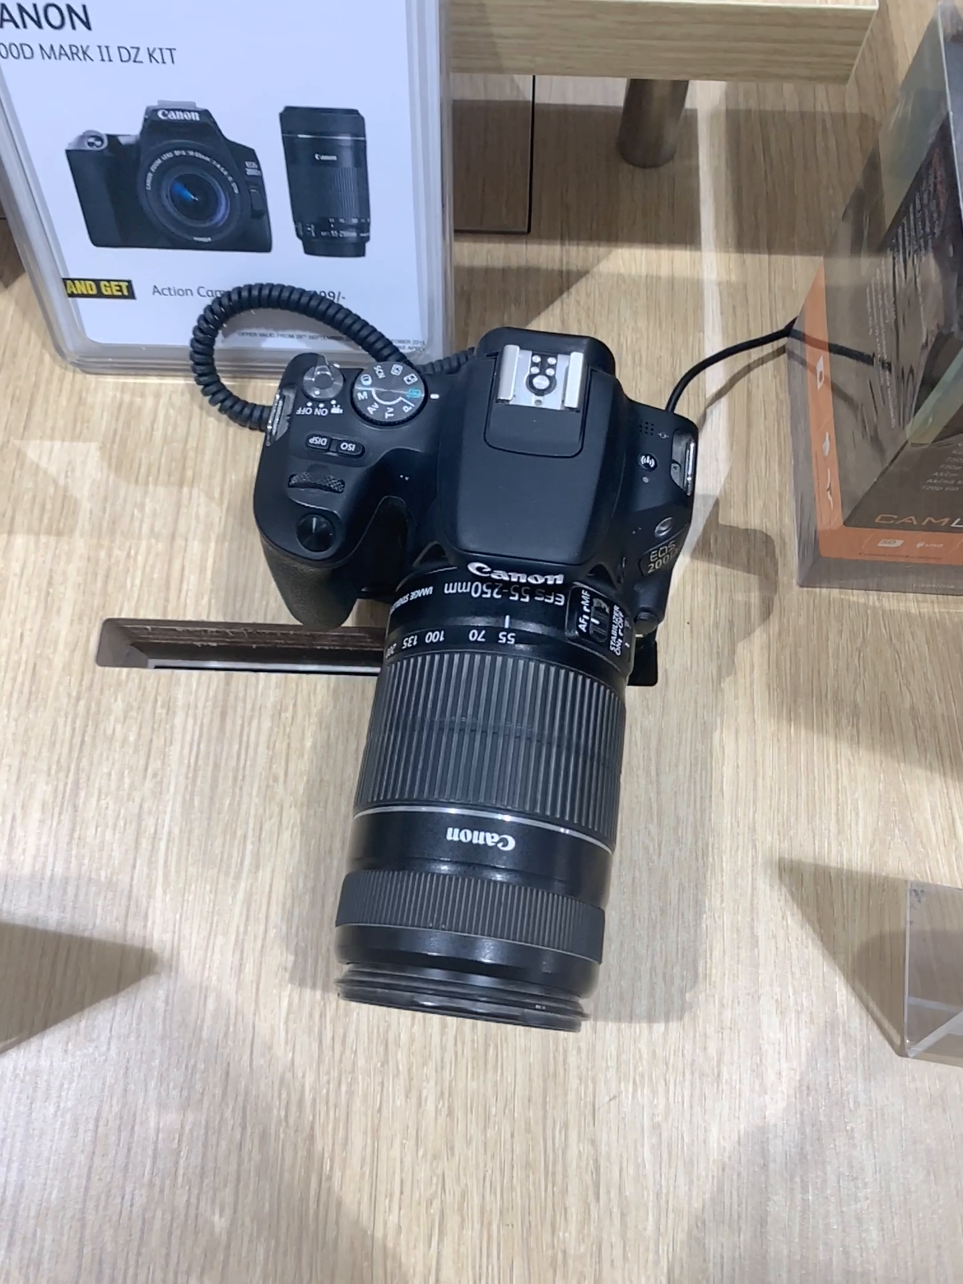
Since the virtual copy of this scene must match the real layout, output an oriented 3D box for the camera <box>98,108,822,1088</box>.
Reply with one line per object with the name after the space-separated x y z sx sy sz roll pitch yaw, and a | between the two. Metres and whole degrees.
0.006 -0.010 0.245 0.120 0.100 0.200 6 70 2 | camera
